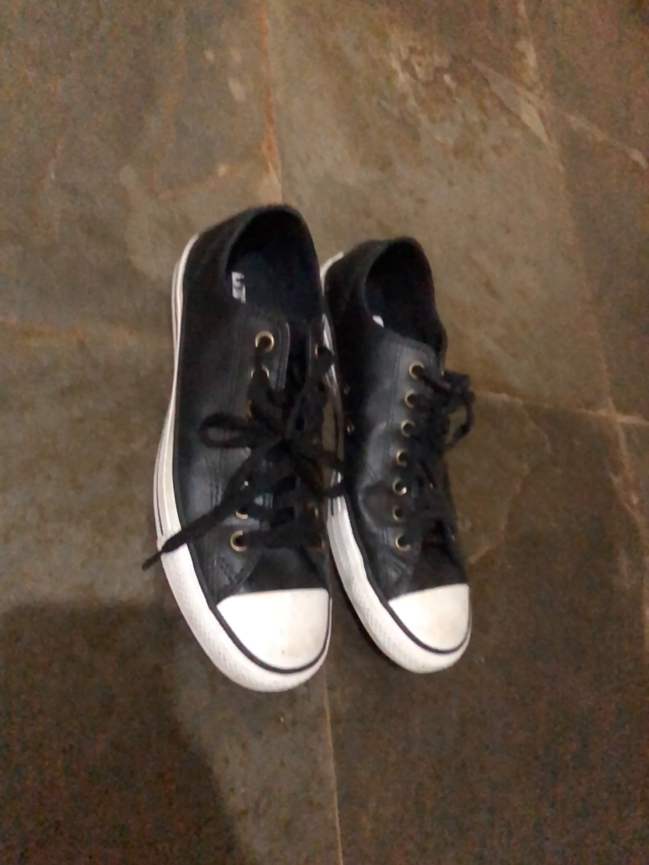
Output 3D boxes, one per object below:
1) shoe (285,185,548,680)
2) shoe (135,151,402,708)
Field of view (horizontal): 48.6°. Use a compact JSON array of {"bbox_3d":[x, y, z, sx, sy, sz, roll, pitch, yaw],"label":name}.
[{"bbox_3d":[0.056,-0.001,0.497,0.111,0.079,0.310,5,70,-37],"label":"shoe"},{"bbox_3d":[-0.040,-0.002,0.418,0.101,0.079,0.290,5,70,-37],"label":"shoe"}]
